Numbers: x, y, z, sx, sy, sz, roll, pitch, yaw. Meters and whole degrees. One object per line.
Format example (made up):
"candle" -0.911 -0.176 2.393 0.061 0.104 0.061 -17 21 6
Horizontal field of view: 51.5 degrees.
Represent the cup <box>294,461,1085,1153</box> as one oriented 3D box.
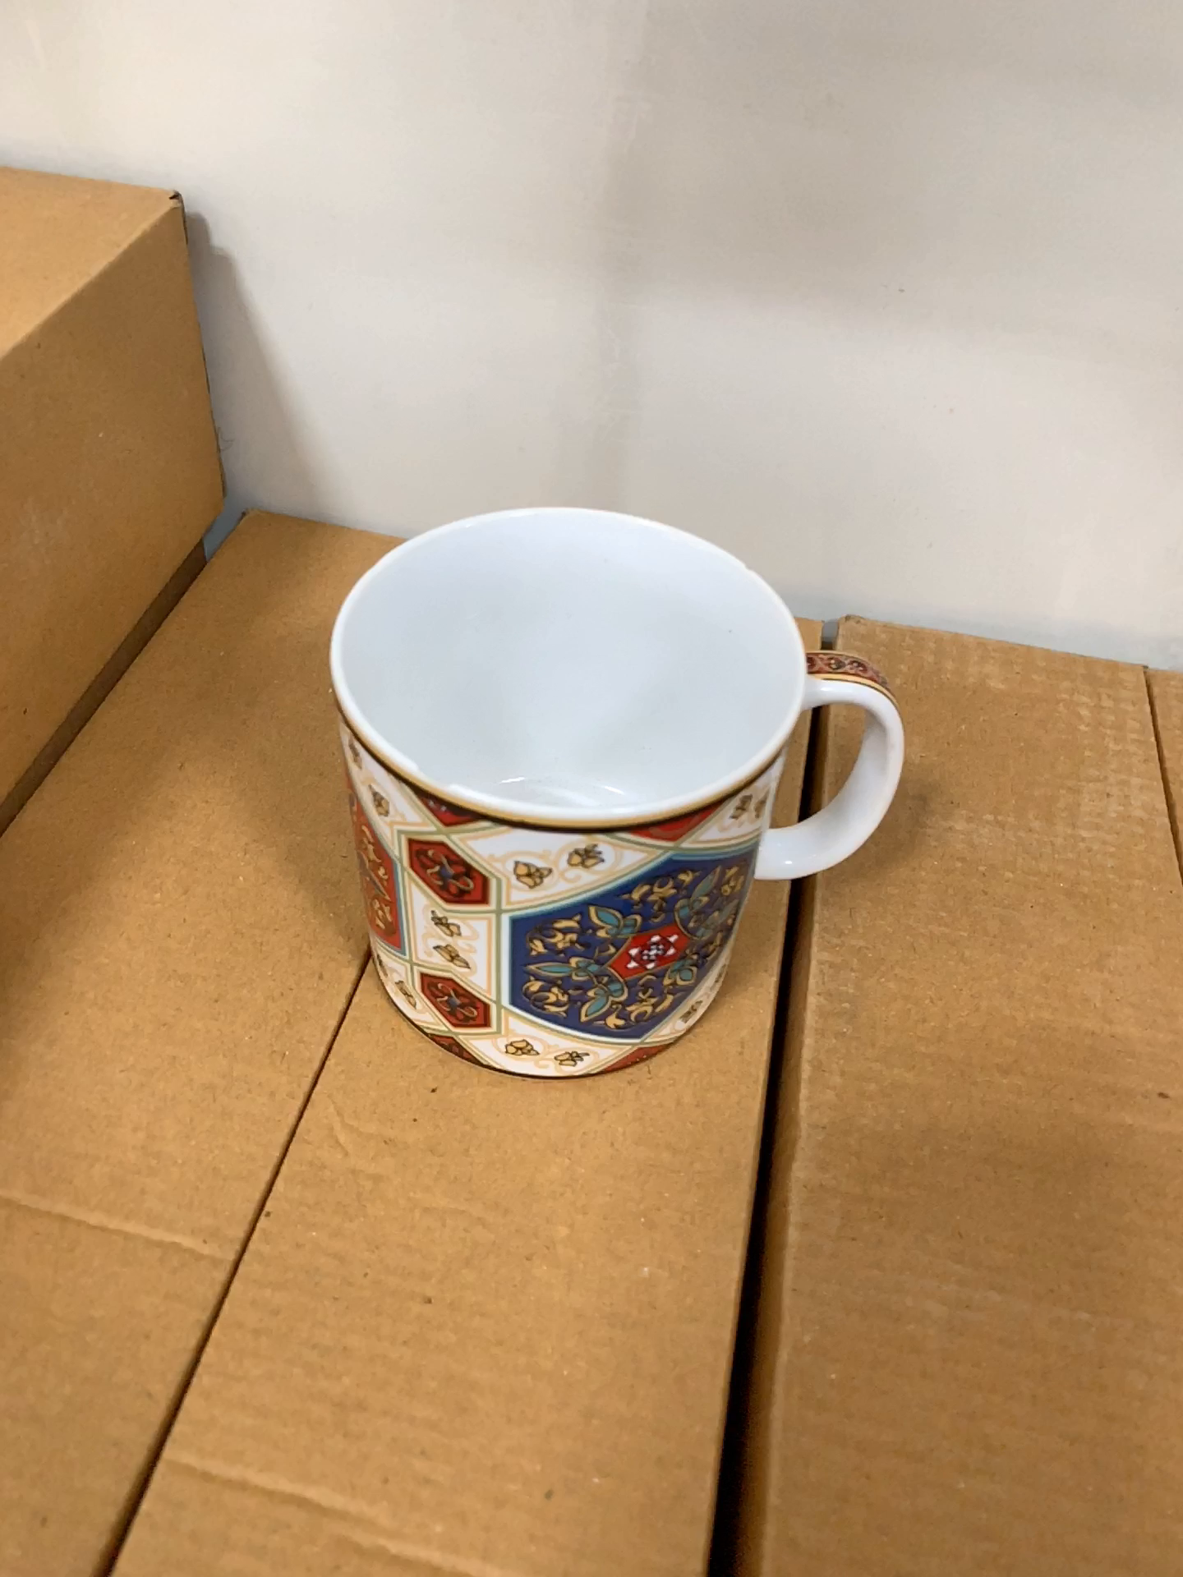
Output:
"cup" 0.007 -0.001 0.208 0.100 0.069 0.081 -7 48 -14
